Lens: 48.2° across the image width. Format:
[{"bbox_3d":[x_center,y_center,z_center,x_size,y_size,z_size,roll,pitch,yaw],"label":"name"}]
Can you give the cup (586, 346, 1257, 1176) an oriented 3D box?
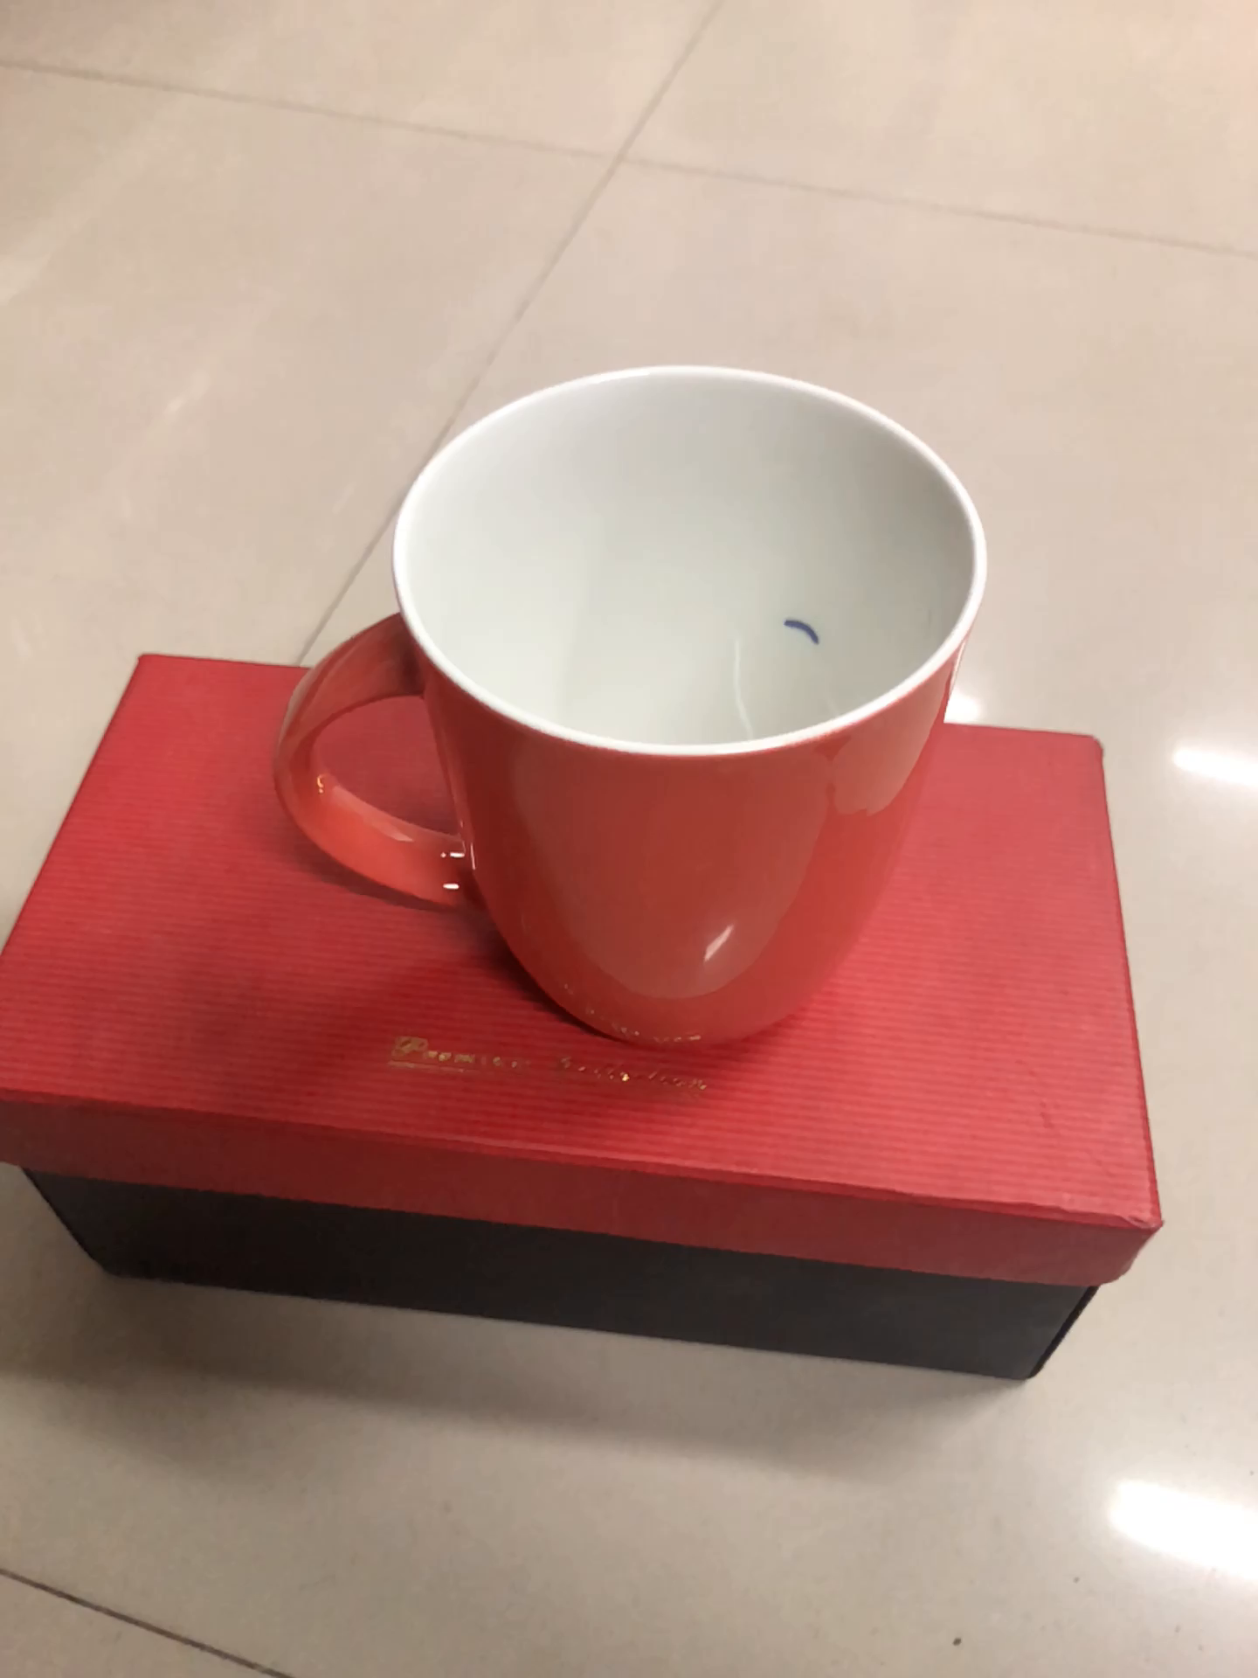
[{"bbox_3d":[0.053,-0.011,0.226,0.110,0.090,0.090,4,52,2],"label":"cup"}]
